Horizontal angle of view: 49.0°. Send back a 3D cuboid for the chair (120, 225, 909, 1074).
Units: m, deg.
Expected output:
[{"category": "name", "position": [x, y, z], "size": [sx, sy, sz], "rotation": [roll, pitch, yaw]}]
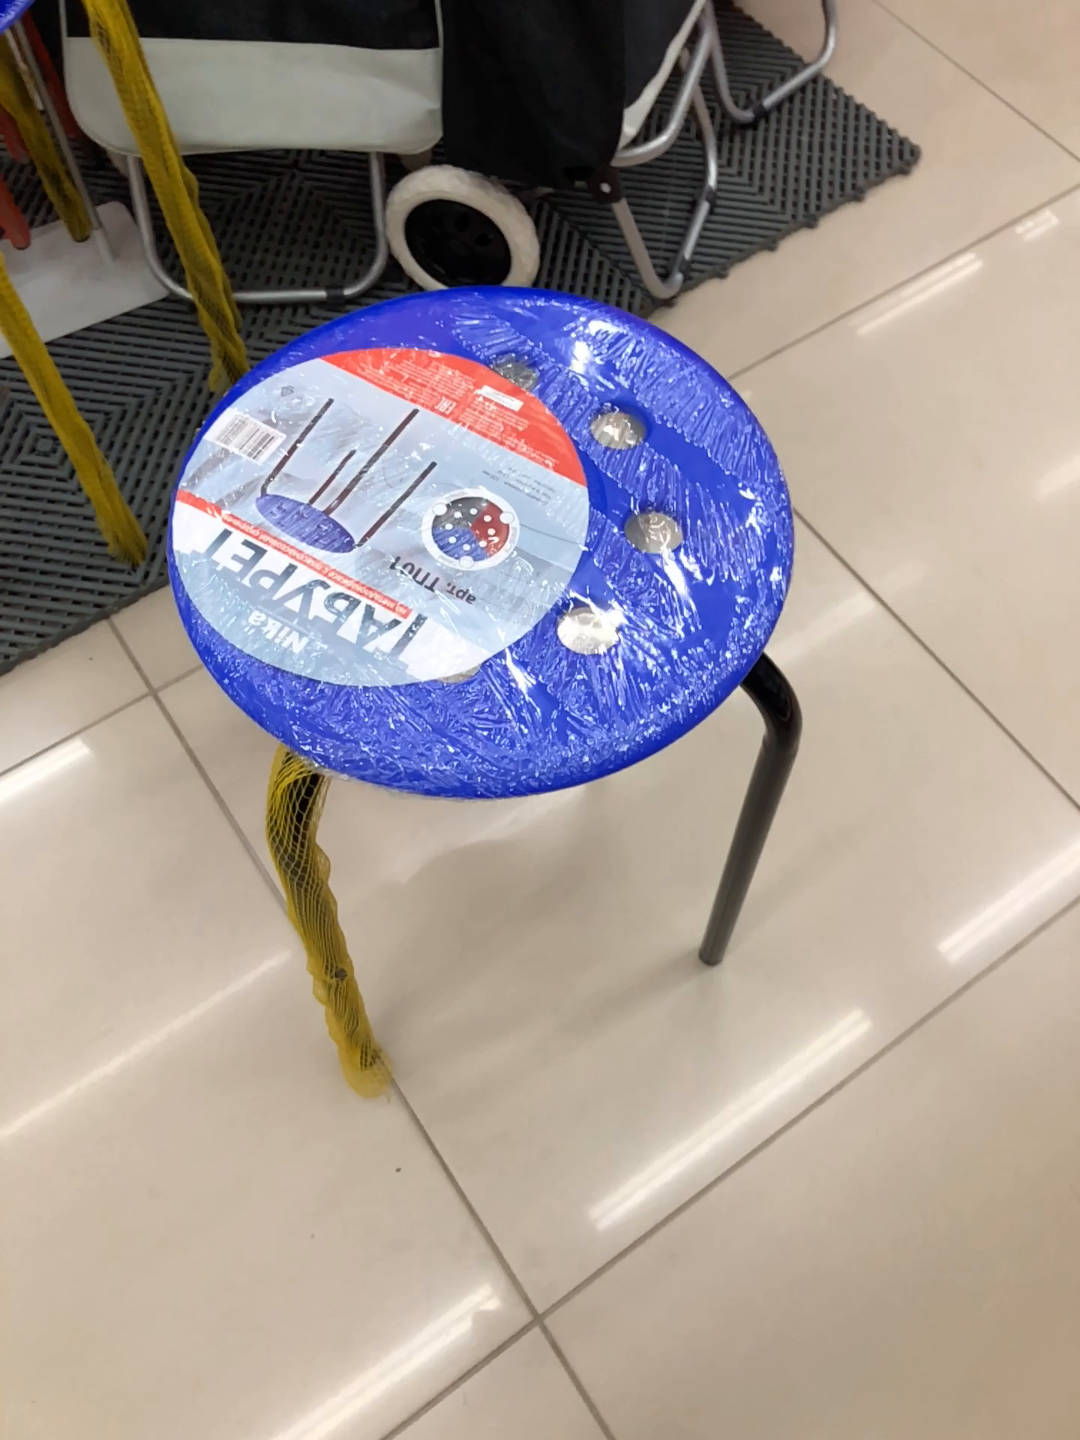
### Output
[{"category": "chair", "position": [-0.032, -0.012, 0.778], "size": [0.320, 0.427, 0.325], "rotation": [-13, 64, -8]}]
